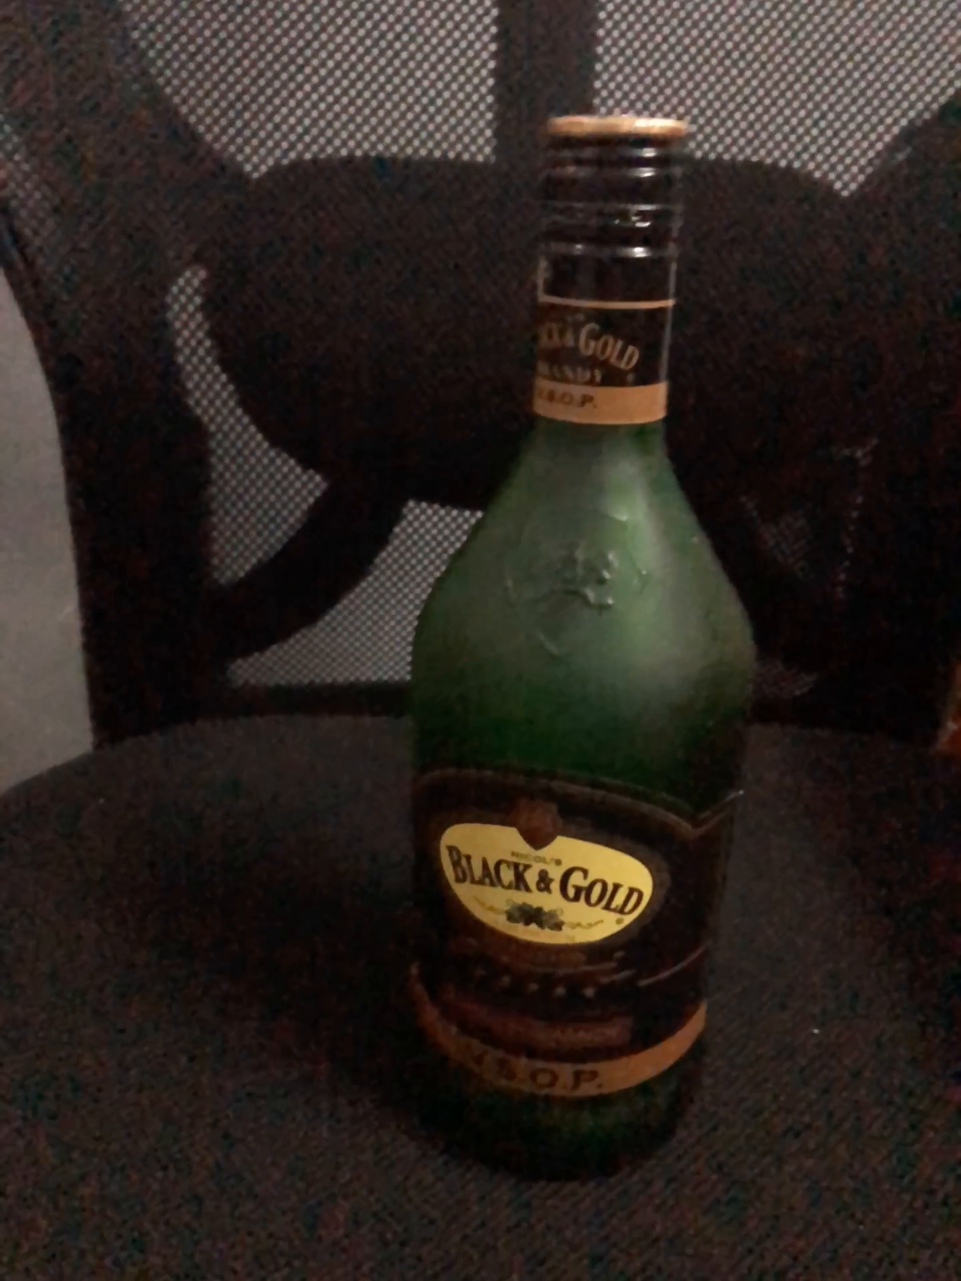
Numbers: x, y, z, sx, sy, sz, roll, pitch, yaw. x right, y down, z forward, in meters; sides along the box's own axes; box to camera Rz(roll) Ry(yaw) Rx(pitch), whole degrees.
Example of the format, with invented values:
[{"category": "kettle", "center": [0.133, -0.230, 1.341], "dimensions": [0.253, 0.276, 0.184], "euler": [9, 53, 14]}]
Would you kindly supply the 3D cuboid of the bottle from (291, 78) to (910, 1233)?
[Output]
[{"category": "bottle", "center": [0.020, 0.011, 0.278], "dimensions": [0.110, 0.269, 0.080], "euler": [10, 26, 14]}]
